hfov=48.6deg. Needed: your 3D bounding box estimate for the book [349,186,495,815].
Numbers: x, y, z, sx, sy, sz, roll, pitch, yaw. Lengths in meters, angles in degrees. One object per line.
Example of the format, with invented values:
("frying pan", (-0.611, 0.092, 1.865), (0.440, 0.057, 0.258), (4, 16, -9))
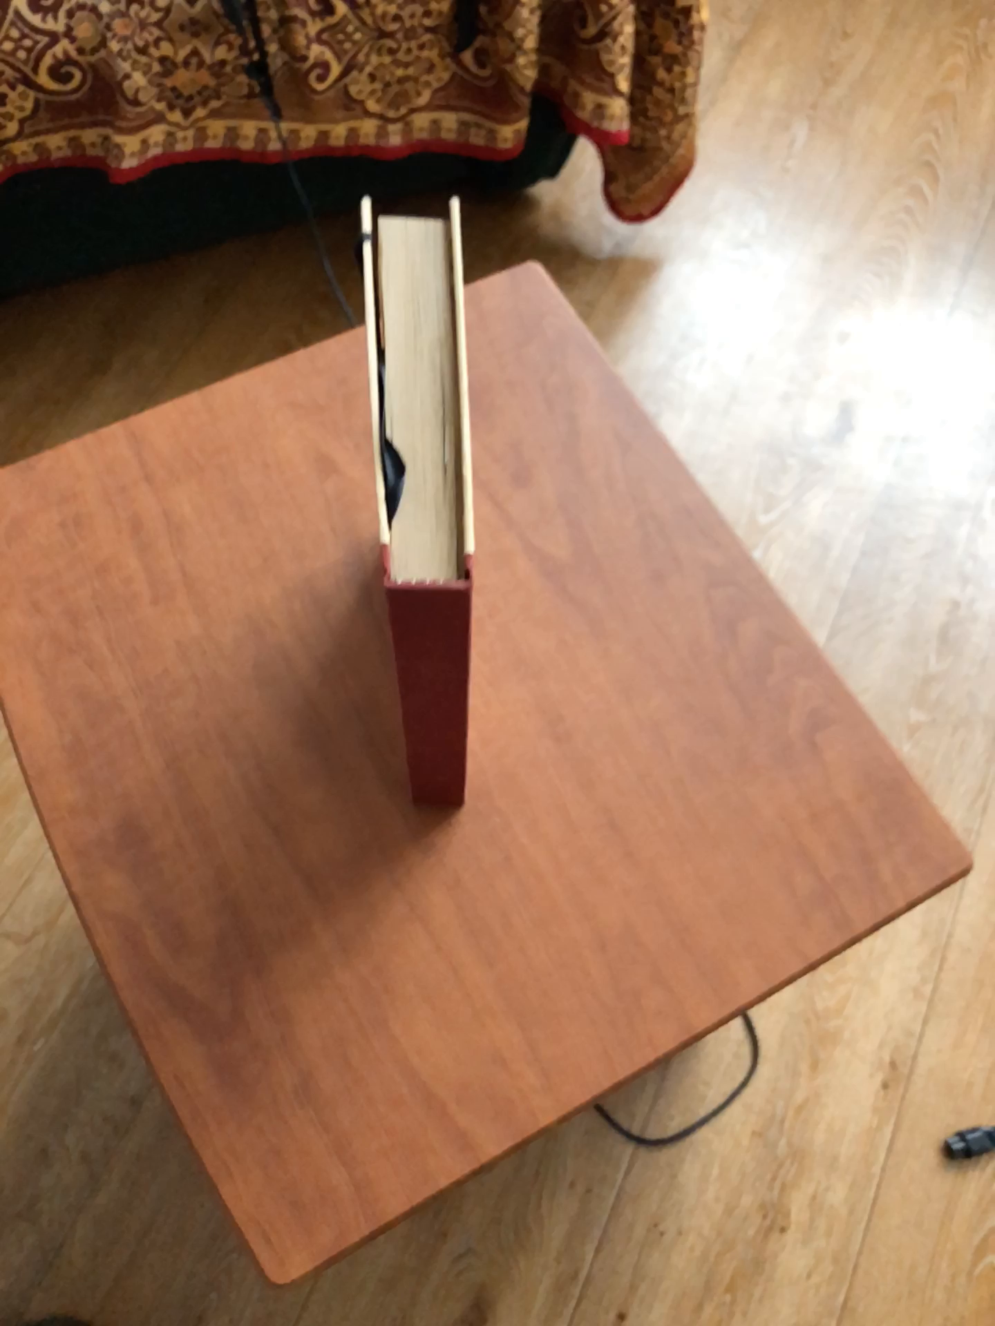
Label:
("book", (-0.029, -0.048, 0.438), (0.041, 0.204, 0.163), (-2, 66, -3))
